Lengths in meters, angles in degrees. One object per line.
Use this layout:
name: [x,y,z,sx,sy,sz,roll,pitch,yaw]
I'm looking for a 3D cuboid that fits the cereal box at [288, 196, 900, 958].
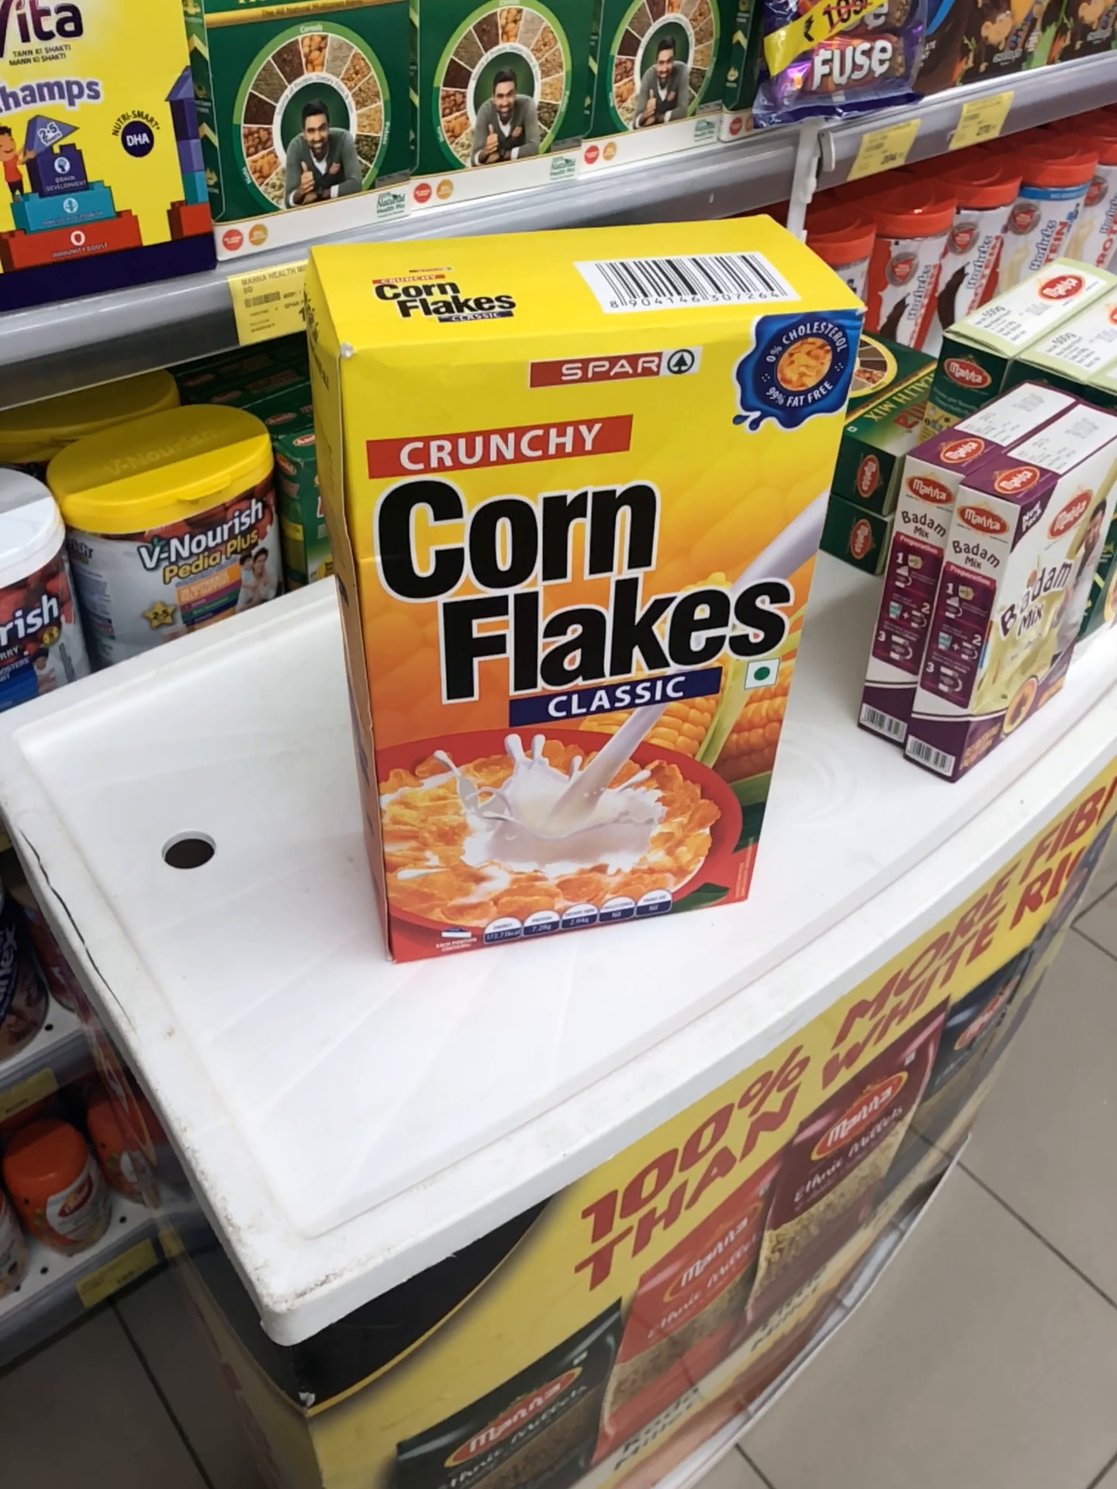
cereal box: [0.003,-0.057,0.545,0.200,0.319,0.090,-8,44,-12]
